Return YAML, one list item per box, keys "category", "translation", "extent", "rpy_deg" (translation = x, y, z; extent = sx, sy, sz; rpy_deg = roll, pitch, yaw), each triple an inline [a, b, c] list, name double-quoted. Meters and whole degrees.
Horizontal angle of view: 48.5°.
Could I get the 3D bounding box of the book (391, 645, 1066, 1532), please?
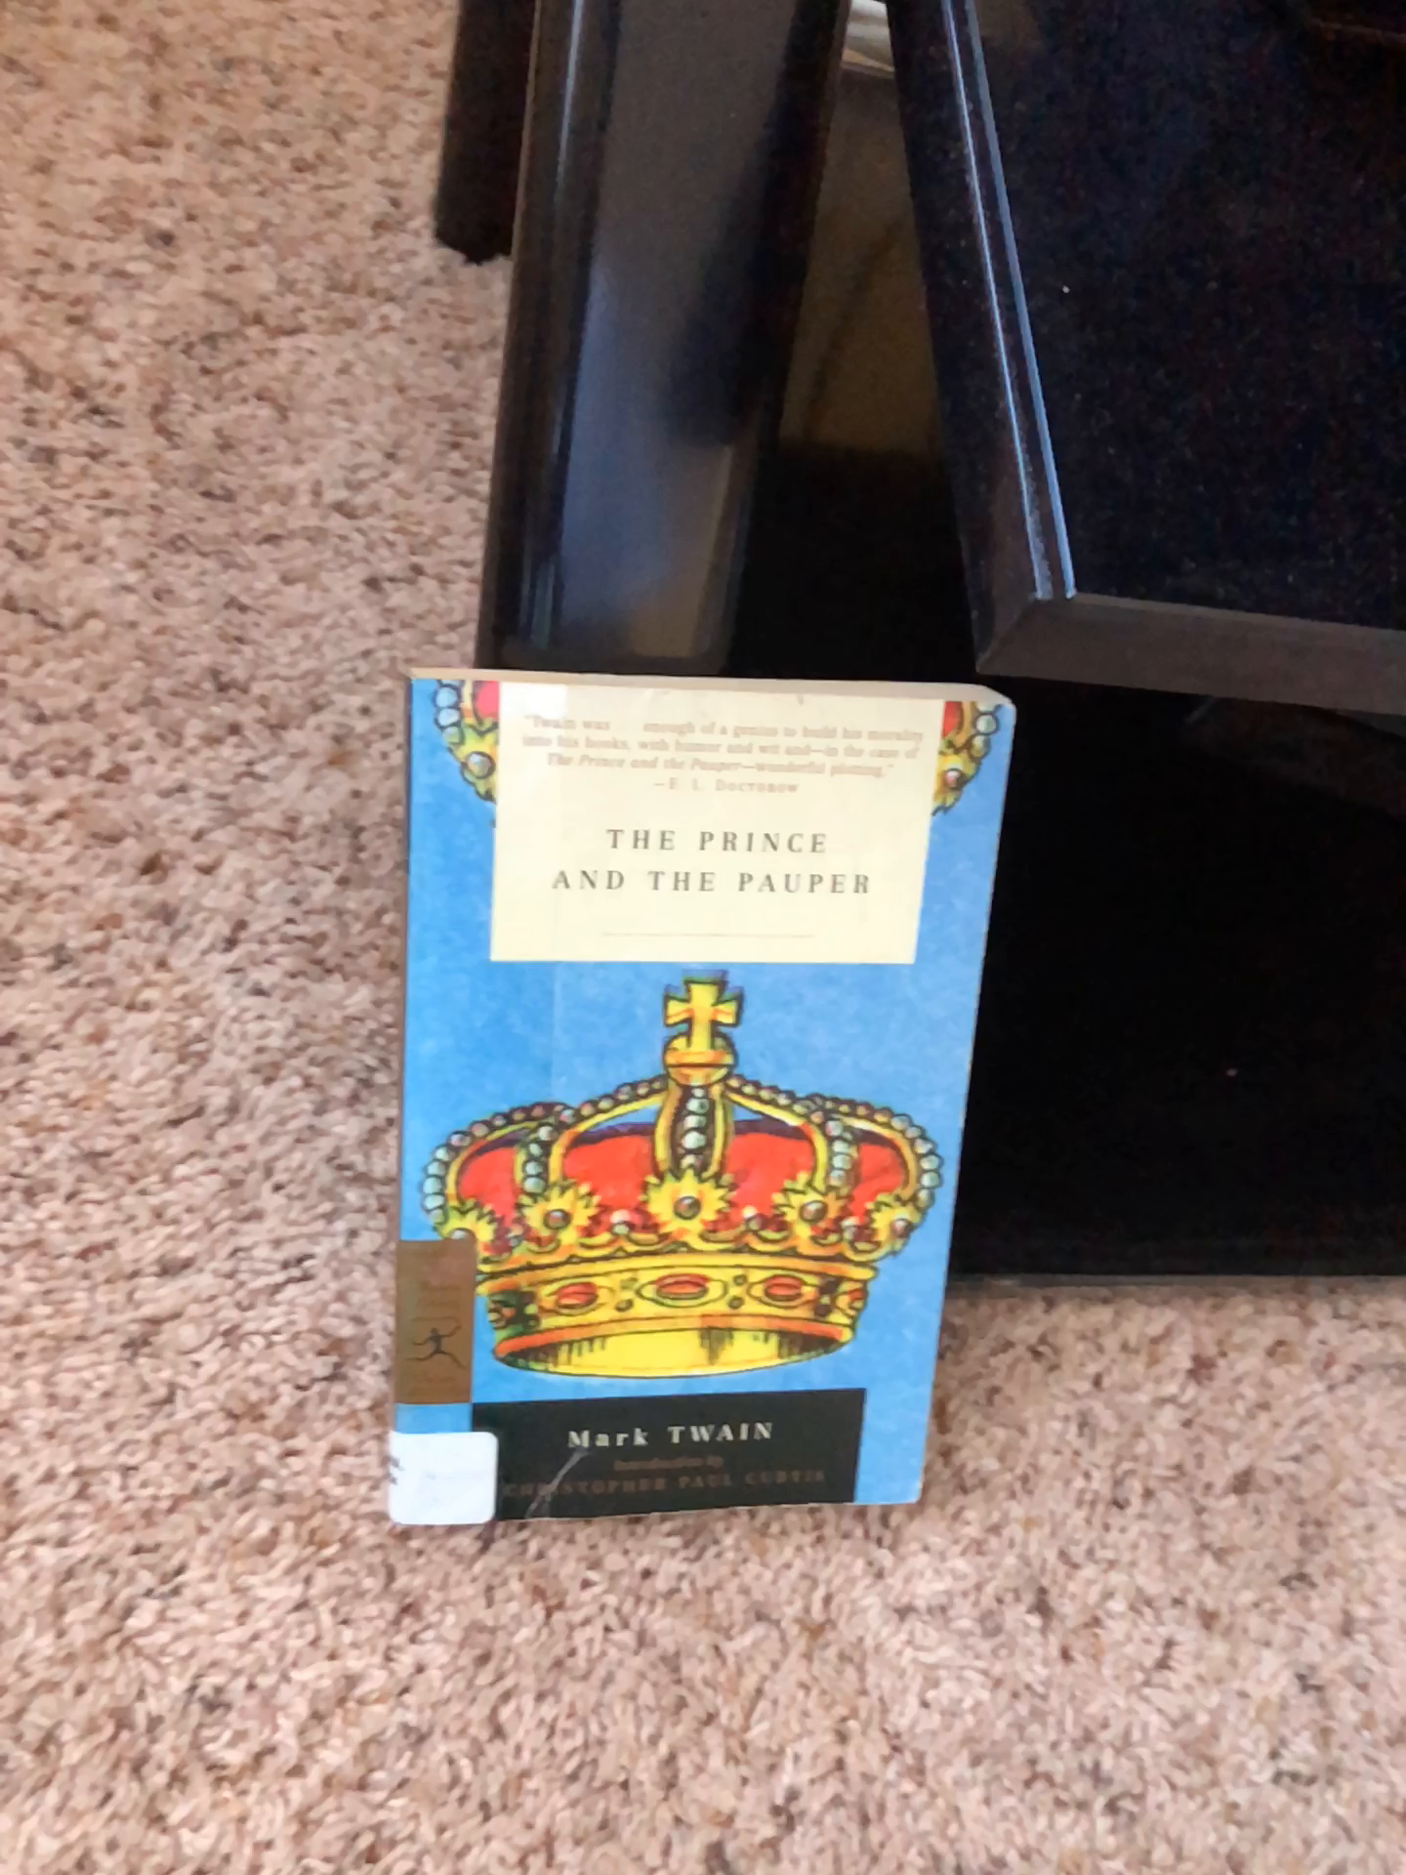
- category: "book"
  translation: [0.001, 0.038, 0.355]
  extent: [0.130, 0.030, 0.193]
  rpy_deg: [2, 106, -16]
